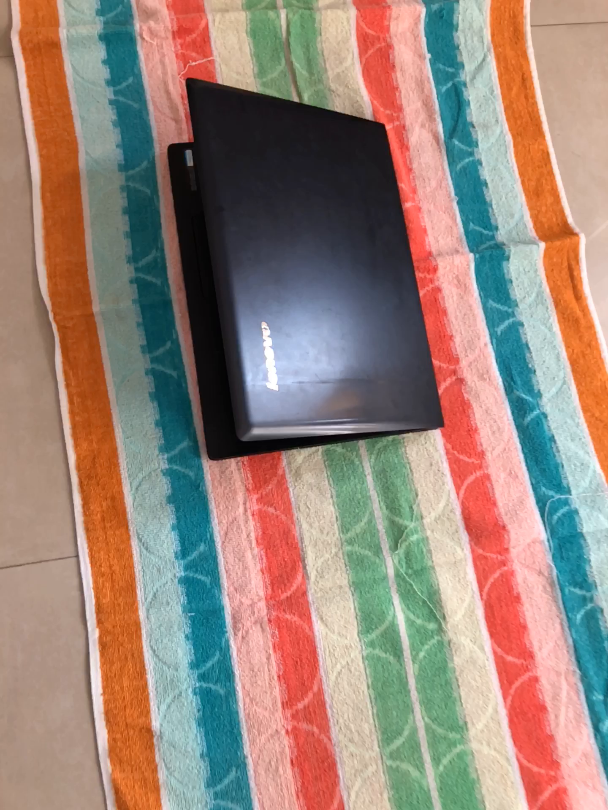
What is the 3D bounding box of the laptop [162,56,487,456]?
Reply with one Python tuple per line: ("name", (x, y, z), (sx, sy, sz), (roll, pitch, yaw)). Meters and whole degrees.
("laptop", (0.011, -0.153, 0.697), (0.253, 0.126, 0.364), (-8, 80, -11))
